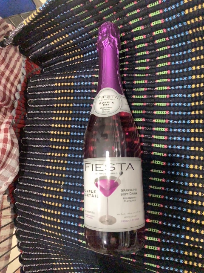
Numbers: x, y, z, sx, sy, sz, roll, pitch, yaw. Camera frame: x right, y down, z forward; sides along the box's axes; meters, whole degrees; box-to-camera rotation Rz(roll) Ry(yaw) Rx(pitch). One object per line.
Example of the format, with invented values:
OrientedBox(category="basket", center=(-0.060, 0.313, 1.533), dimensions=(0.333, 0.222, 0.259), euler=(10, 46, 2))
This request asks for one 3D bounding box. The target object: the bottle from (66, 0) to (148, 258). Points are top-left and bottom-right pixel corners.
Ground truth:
OrientedBox(category="bottle", center=(0.010, -0.028, 0.296), dimensions=(0.080, 0.080, 0.330), euler=(-5, 78, 22))
